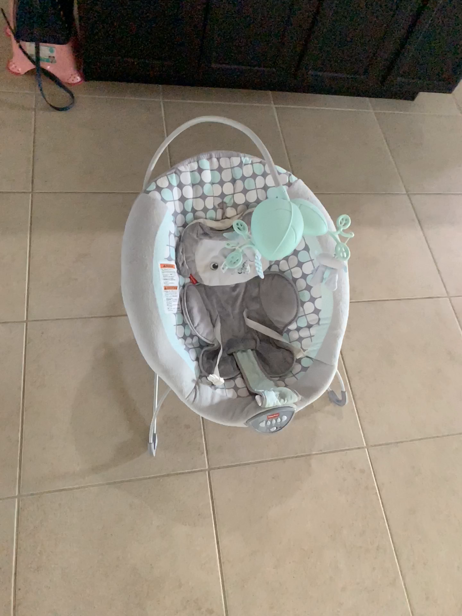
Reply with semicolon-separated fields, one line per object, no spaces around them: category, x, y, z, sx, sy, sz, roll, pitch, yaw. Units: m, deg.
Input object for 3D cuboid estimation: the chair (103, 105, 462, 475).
chair;0.056;-0.019;1.054;0.572;0.580;0.547;-8;64;-16
